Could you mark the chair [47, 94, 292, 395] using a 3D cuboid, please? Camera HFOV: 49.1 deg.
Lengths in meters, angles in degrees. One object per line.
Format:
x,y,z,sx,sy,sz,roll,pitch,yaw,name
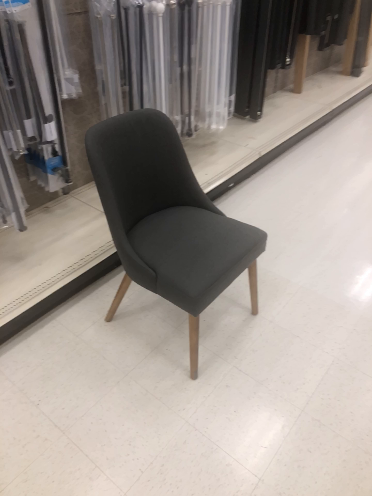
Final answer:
-0.049,-0.029,1.556,0.587,0.859,0.515,26,45,30,chair
